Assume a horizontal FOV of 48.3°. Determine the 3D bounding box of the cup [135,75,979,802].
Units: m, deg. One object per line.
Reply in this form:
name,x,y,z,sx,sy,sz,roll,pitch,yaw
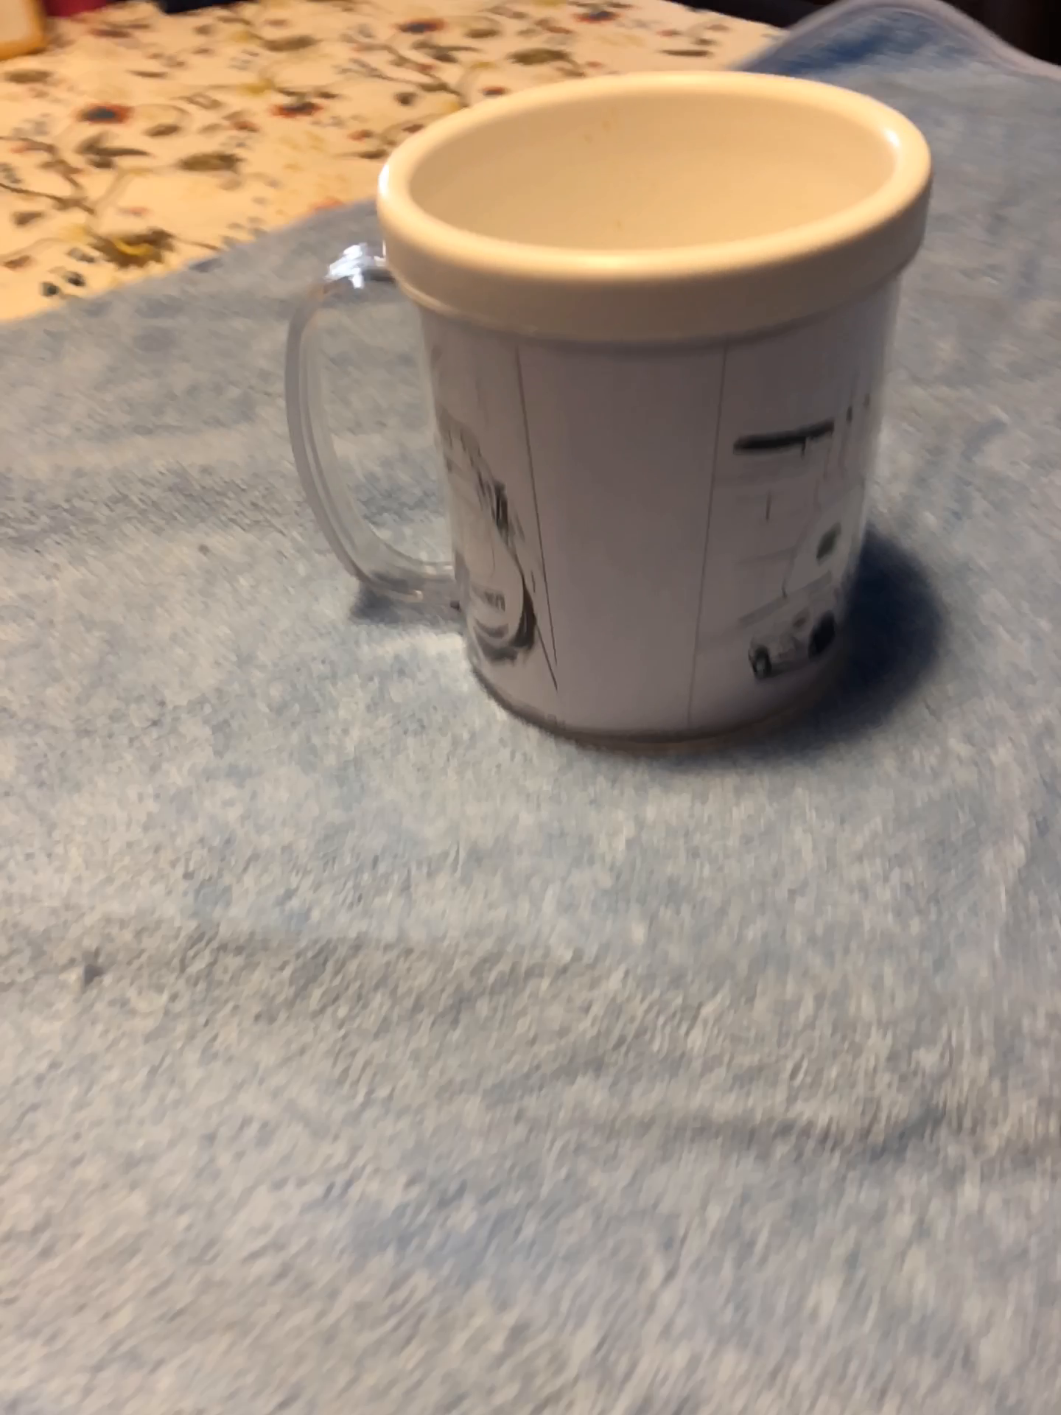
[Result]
cup,0.012,-0.055,0.231,0.120,0.099,0.091,5,44,11
